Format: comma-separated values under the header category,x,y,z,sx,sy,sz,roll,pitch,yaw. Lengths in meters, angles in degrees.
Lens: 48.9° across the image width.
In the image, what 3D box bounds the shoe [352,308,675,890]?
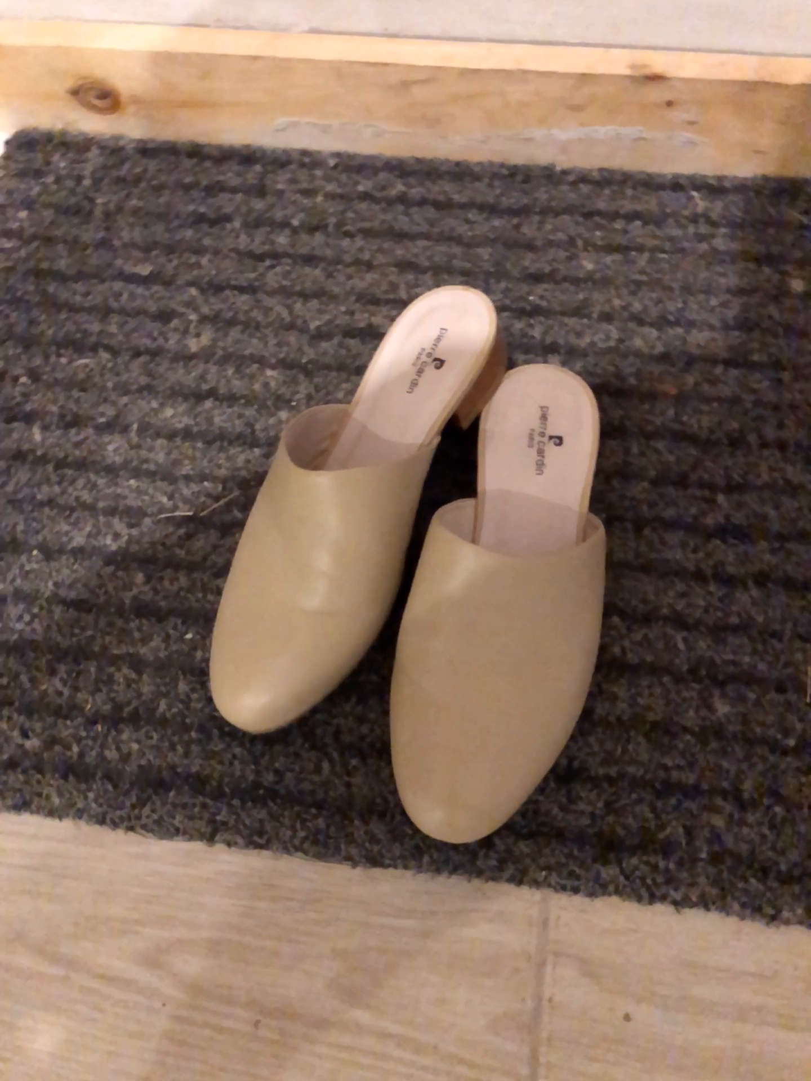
category,x,y,z,sx,sy,sz,roll,pitch,yaw
shoe,0.057,0.018,0.417,0.090,0.070,0.251,12,64,9

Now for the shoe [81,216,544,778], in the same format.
category,x,y,z,sx,sy,sz,roll,pitch,yaw
shoe,-0.029,-0.029,0.421,0.090,0.070,0.251,24,67,14
